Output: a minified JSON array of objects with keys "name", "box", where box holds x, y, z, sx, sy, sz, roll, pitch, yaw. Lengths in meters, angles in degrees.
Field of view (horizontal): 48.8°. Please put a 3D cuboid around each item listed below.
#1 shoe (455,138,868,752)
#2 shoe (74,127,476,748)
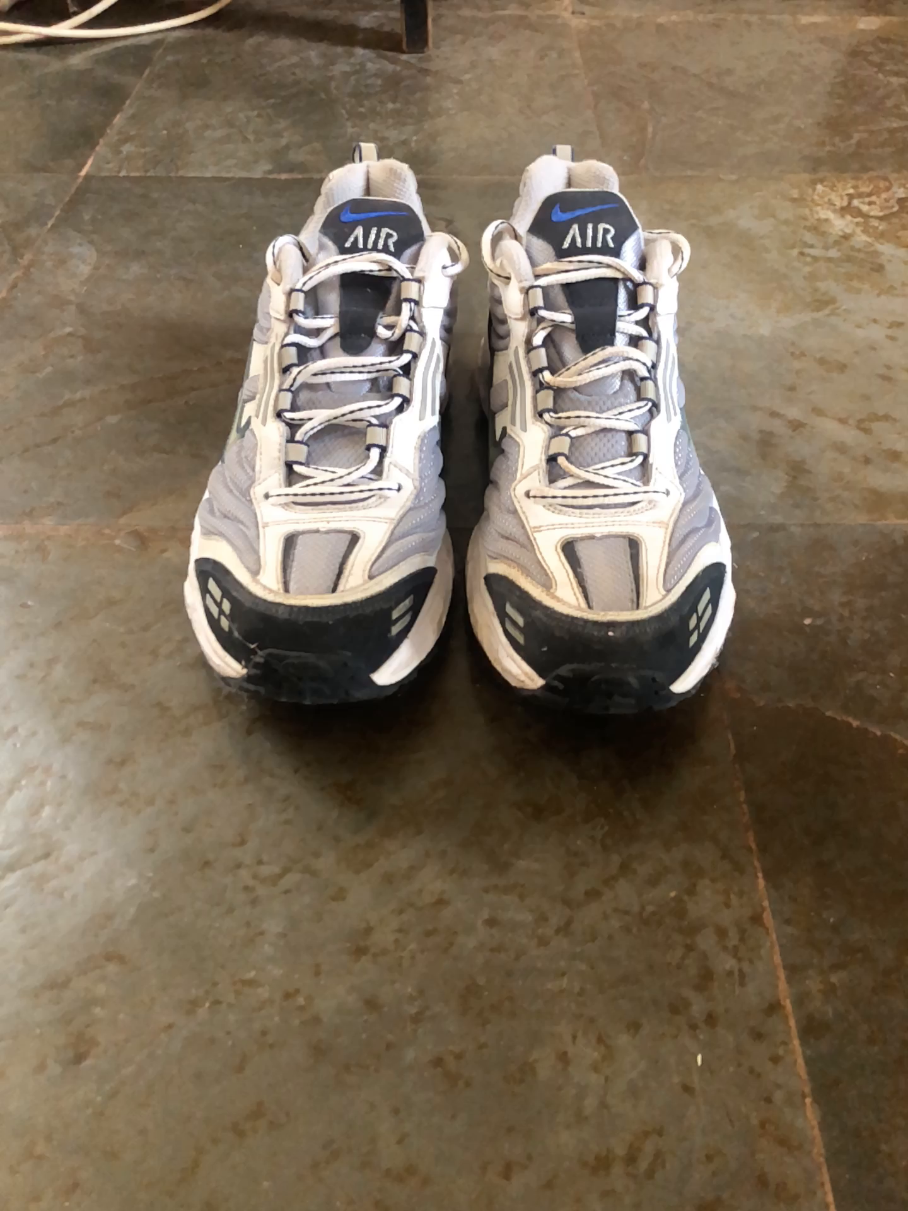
[{"name":"shoe","box":[0.056,-0.081,0.401,0.110,0.109,0.262,0,45,0]},{"name":"shoe","box":[-0.050,-0.084,0.408,0.110,0.119,0.262,0,45,0]}]
